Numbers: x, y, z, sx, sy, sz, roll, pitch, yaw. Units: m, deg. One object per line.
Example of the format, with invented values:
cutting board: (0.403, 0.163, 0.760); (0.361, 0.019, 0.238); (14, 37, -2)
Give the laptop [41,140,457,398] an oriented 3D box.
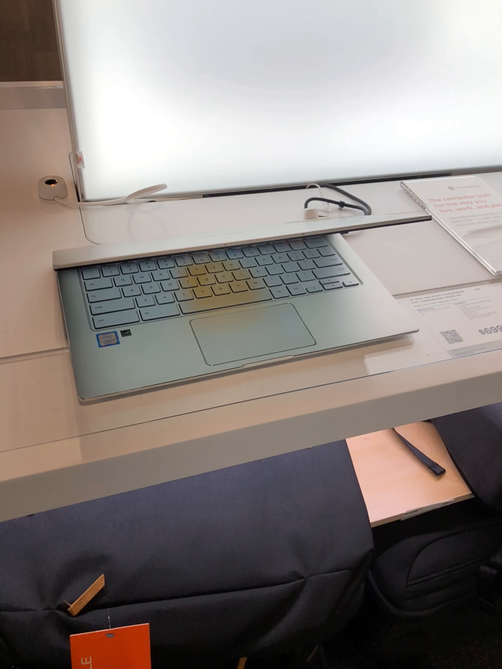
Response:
laptop: (-0.015, -0.078, 0.509); (0.311, 0.102, 0.194); (-11, 44, -16)
